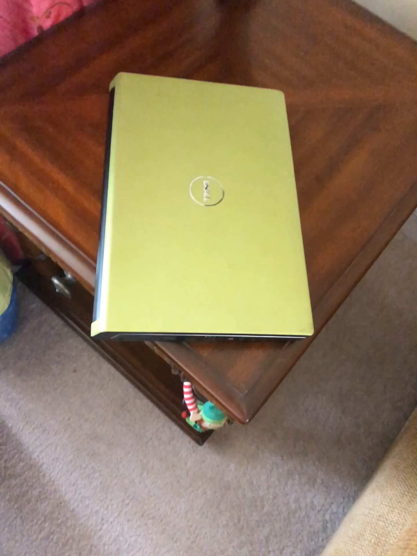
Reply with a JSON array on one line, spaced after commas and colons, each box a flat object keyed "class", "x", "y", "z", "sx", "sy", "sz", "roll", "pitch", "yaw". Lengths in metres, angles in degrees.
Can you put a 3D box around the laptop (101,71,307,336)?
[{"class": "laptop", "x": -0.007, "y": -0.111, "z": 0.603, "sx": 0.236, "sy": 0.020, "sz": 0.379, "roll": 3, "pitch": 66, "yaw": -11}]
